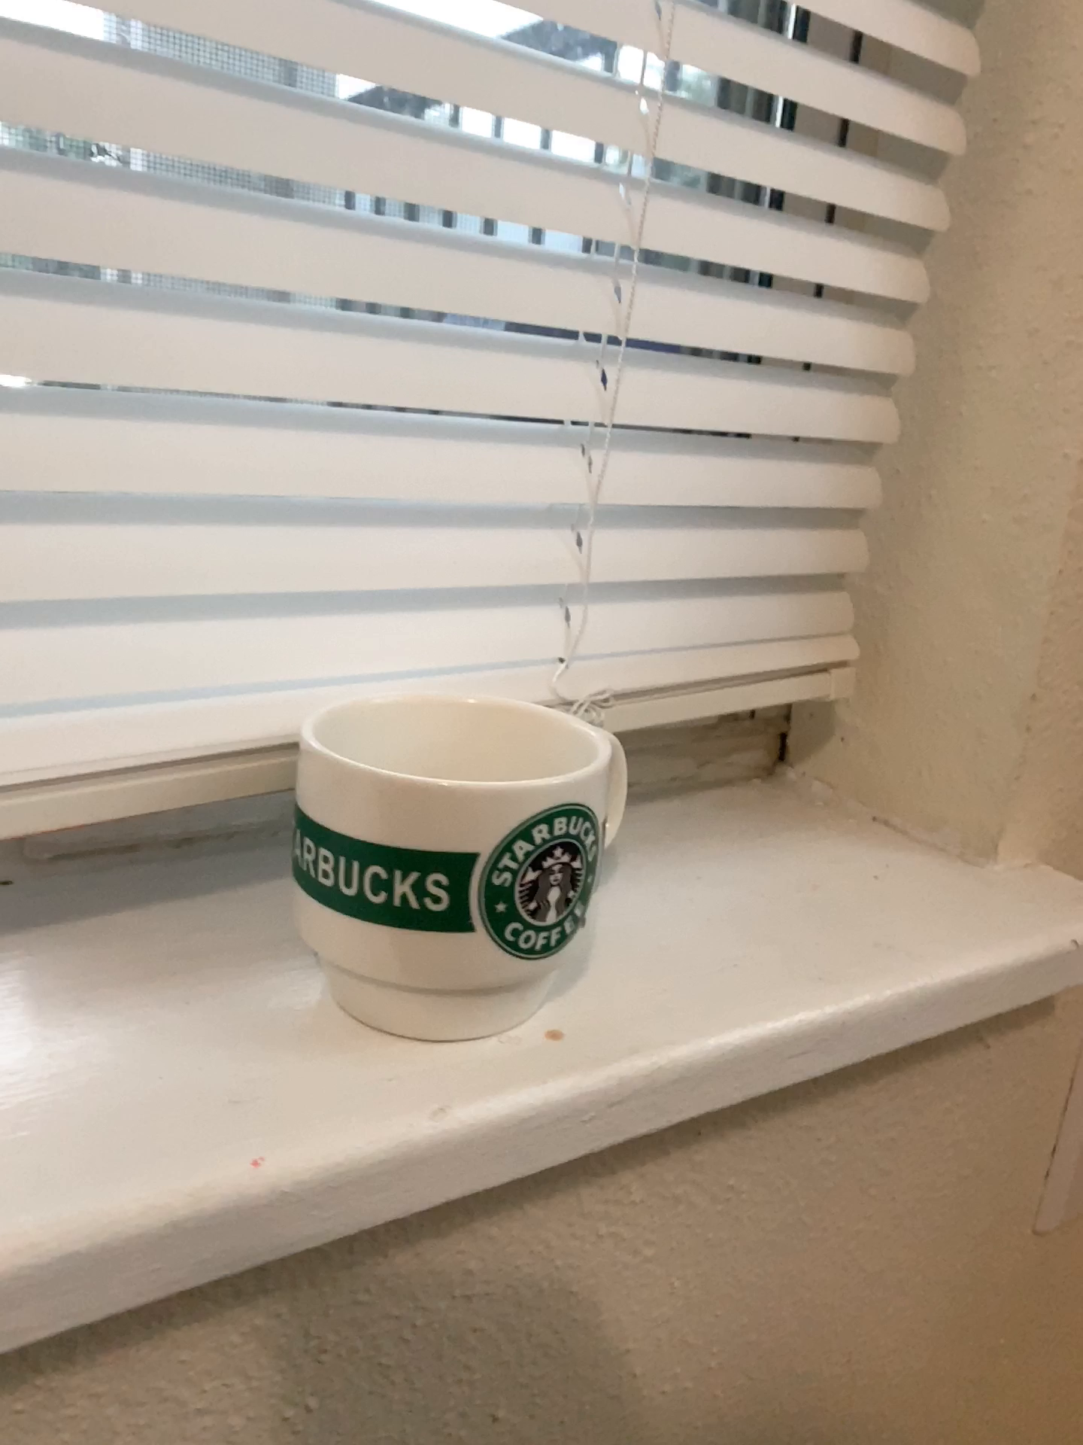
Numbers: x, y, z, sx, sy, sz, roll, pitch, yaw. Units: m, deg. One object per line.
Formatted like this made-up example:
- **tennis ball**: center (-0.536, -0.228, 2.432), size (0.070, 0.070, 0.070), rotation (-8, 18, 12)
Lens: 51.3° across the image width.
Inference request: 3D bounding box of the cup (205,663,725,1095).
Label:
- **cup**: center (-0.015, 0.027, 0.268), size (0.070, 0.060, 0.100), rotation (16, 18, 35)
